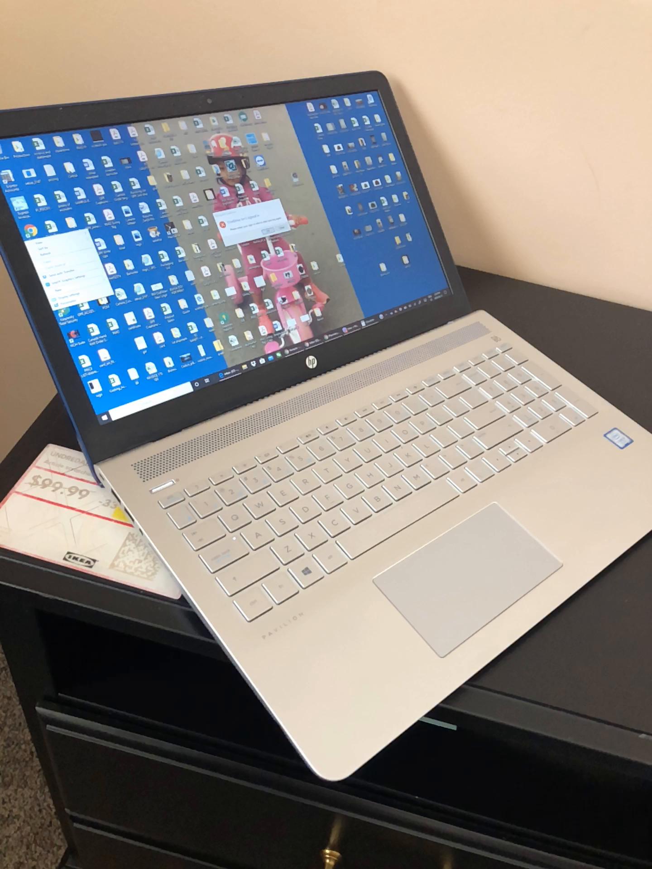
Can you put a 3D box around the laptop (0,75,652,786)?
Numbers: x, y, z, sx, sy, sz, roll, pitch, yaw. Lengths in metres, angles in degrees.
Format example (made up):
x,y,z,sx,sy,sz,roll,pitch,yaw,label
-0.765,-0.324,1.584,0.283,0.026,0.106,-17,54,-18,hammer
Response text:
x,y,z,sx,sy,sz,roll,pitch,yaw,label
0.027,-0.077,0.484,0.366,0.141,0.402,-25,55,-33,laptop
